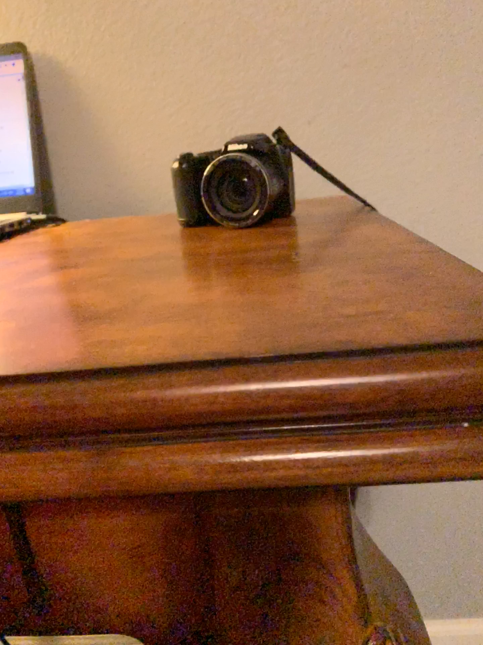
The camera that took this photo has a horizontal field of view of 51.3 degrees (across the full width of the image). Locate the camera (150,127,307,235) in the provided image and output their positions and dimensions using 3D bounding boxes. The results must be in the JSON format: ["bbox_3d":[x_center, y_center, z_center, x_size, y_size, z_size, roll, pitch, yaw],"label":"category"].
[{"bbox_3d":[-0.005,-0.139,0.492,0.110,0.081,0.123,0,18,19],"label":"camera"}]
